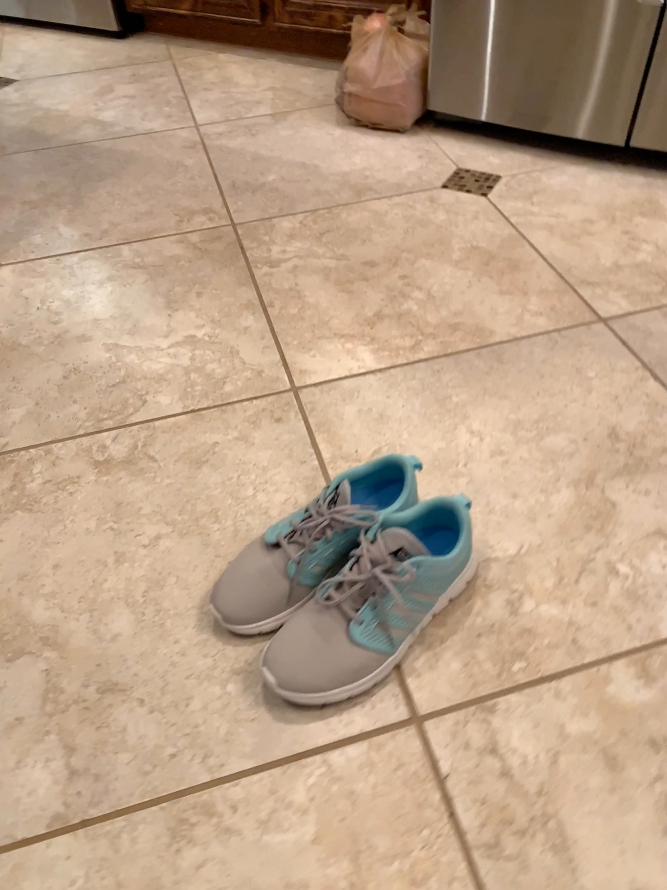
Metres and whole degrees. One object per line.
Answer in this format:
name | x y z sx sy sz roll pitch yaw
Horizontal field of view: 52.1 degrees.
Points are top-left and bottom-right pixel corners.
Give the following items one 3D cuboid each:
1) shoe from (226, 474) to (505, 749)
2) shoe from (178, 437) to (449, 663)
shoe | 0.039 0.163 0.709 0.271 0.108 0.107 -32 52 -24
shoe | -0.017 0.112 0.765 0.271 0.108 0.107 -23 49 -18
